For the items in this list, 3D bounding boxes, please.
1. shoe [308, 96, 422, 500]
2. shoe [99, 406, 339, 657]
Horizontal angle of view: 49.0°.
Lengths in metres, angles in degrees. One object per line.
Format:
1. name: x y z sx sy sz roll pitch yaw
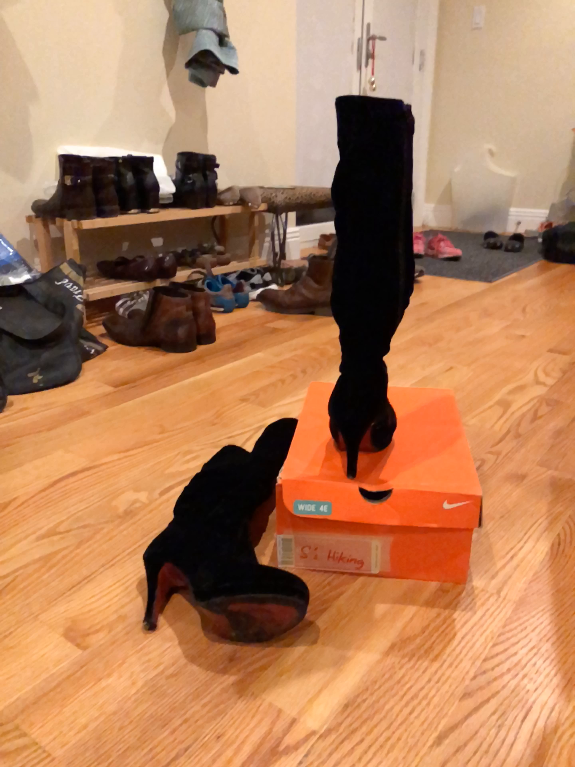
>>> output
1. shoe: 0.091 -0.102 0.722 0.089 0.397 0.217 5 20 12
2. shoe: -0.049 0.147 0.784 0.206 0.089 0.401 1 20 7
